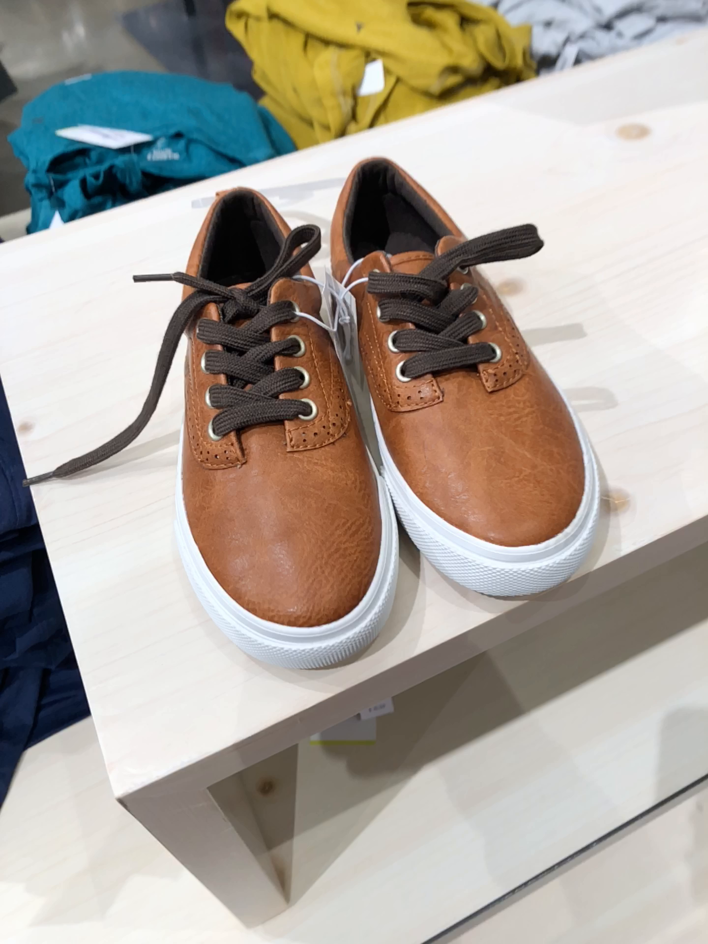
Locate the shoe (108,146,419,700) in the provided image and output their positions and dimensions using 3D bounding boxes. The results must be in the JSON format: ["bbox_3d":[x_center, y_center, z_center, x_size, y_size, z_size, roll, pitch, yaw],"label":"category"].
[{"bbox_3d":[-0.041,-0.034,0.333,0.090,0.090,0.221,-10,50,-3],"label":"shoe"}]

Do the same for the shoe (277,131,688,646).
[{"bbox_3d":[0.036,-0.049,0.333,0.090,0.080,0.211,-13,50,-6],"label":"shoe"}]
